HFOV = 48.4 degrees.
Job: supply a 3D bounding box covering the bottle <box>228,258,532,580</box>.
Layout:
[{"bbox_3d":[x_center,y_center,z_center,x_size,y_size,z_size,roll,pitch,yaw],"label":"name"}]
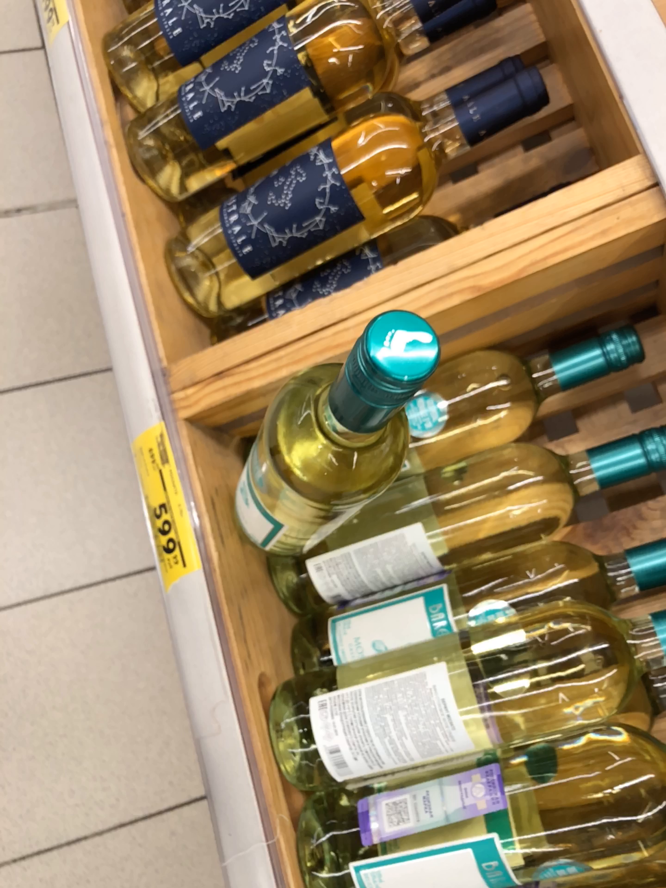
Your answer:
[{"bbox_3d":[-0.002,0.011,0.407,0.080,0.289,0.080,4,72,-11],"label":"bottle"}]
